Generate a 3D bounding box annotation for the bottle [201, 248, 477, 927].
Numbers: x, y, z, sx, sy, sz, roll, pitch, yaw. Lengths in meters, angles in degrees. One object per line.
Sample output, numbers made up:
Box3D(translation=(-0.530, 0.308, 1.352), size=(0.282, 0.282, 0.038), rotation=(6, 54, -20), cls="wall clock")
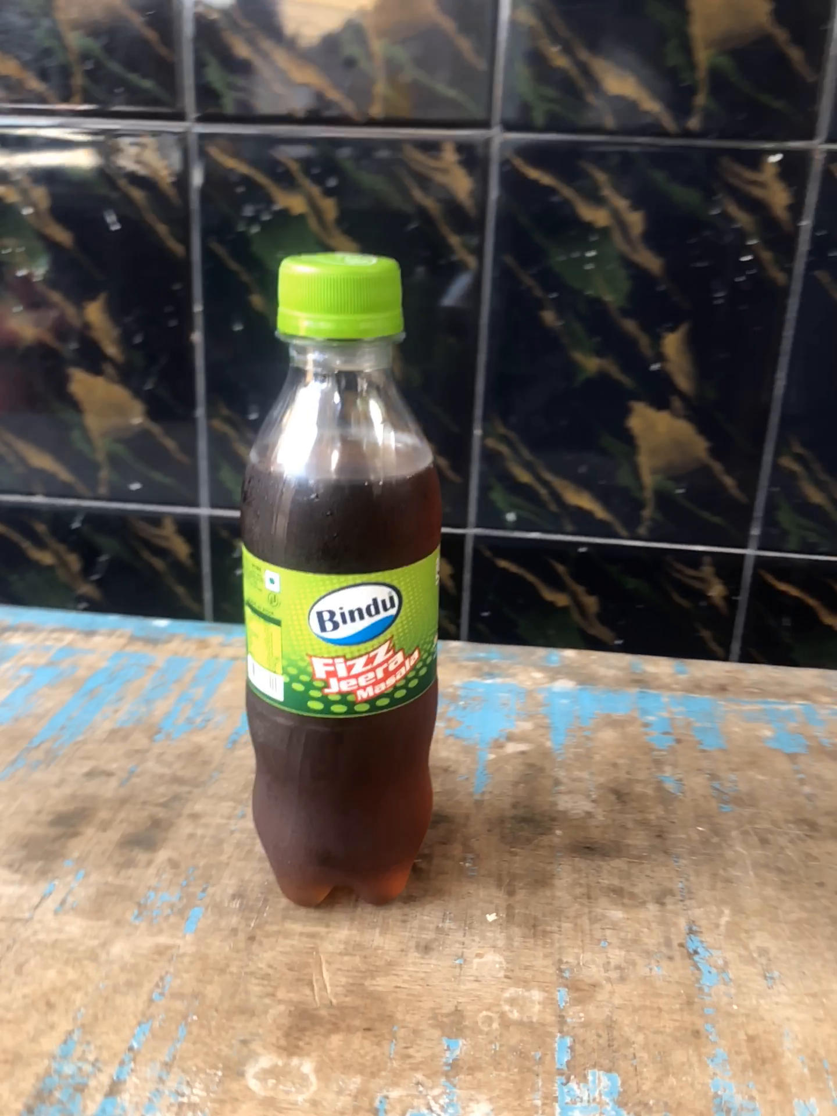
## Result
Box3D(translation=(-0.026, 0.008, 0.268), size=(0.060, 0.179, 0.060), rotation=(2, 20, -1), cls="bottle")
